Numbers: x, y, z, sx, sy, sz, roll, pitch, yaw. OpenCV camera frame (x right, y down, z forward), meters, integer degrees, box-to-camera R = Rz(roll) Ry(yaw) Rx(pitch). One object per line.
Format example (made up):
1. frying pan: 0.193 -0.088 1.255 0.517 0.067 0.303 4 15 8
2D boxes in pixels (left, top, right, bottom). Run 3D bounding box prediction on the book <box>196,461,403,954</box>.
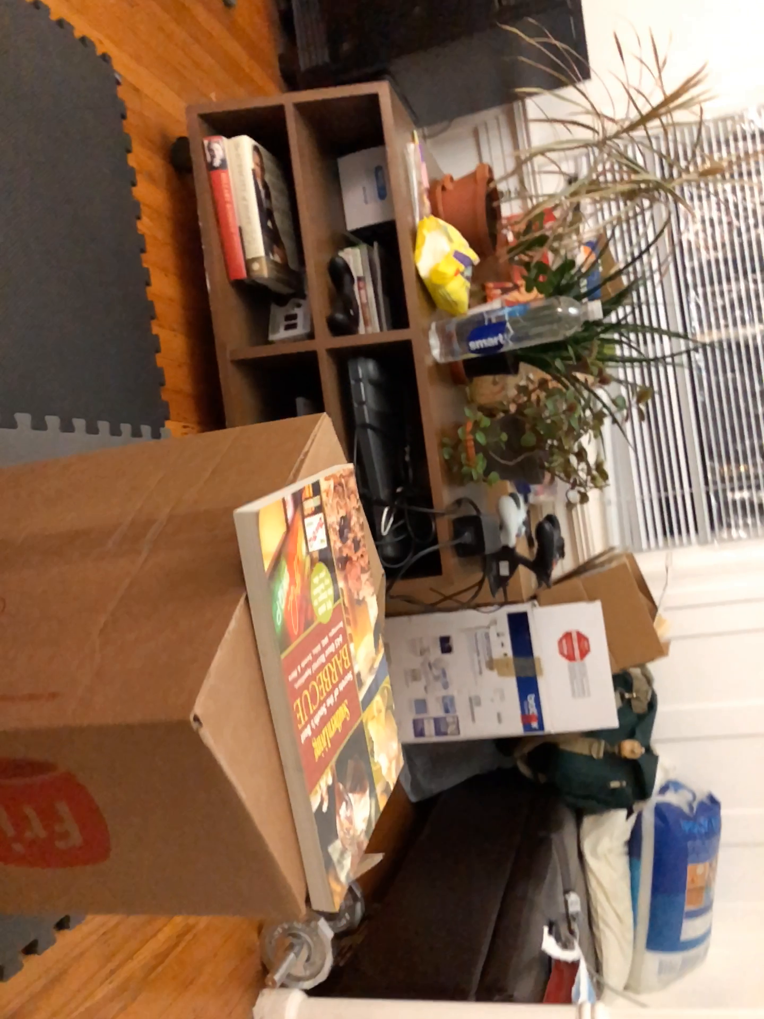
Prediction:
1. book: -0.046 0.123 0.623 0.221 0.020 0.290 -36 116 -72
